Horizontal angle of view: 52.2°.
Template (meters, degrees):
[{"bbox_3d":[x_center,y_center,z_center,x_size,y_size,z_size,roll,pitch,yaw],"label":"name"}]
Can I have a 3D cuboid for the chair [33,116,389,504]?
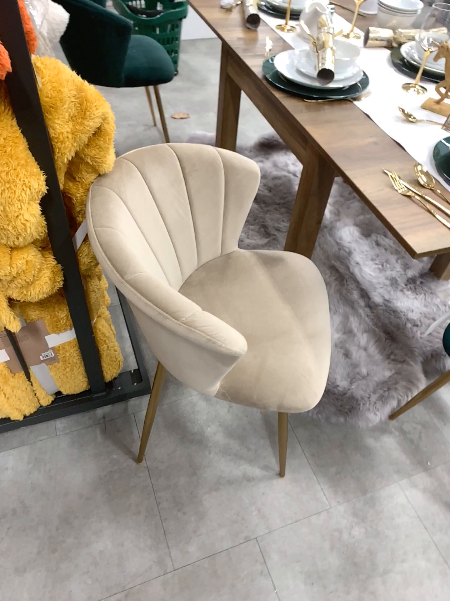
[{"bbox_3d":[-0.018,0.053,1.140,0.535,0.722,0.565,7,47,1],"label":"chair"}]
